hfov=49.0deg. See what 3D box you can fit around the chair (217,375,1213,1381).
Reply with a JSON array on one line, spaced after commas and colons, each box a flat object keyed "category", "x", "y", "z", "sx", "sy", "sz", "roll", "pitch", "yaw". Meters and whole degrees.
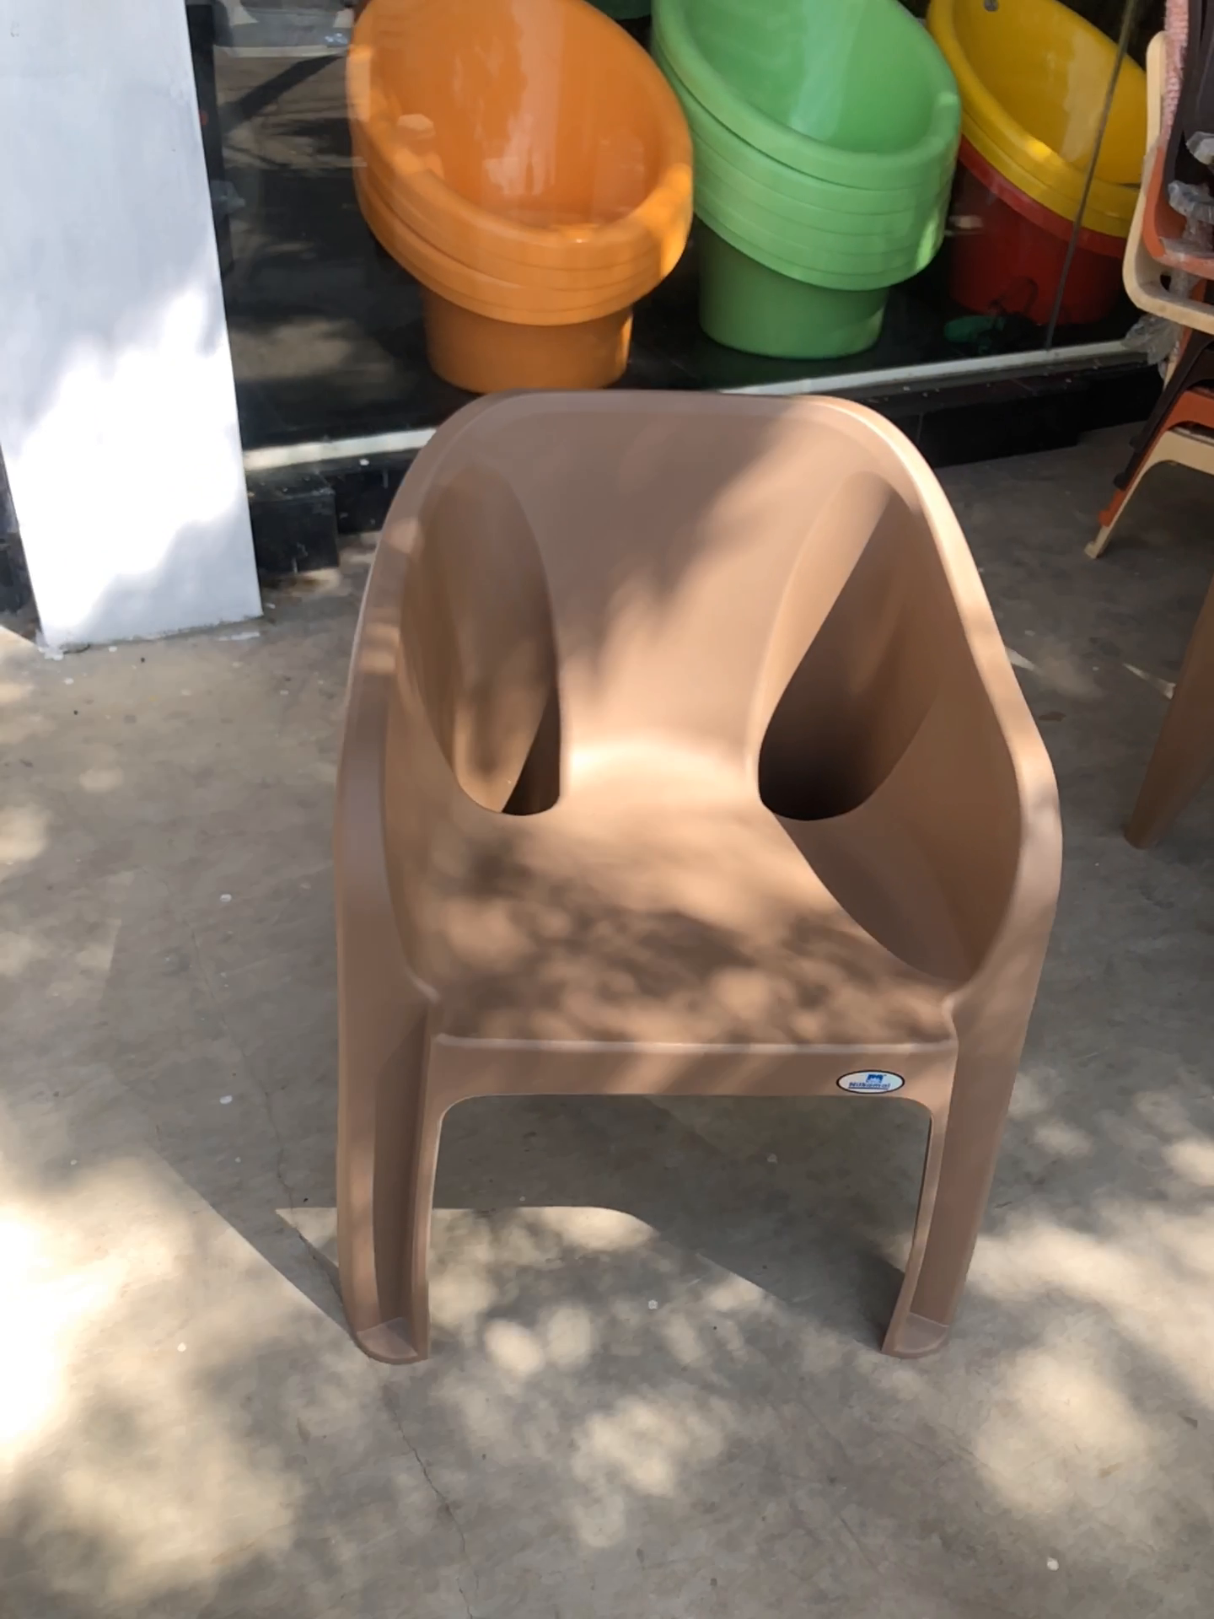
[{"category": "chair", "x": 0.060, "y": 0.030, "z": 1.286, "sx": 0.640, "sy": 0.636, "sz": 0.724, "roll": 1, "pitch": 37, "yaw": -4}]
